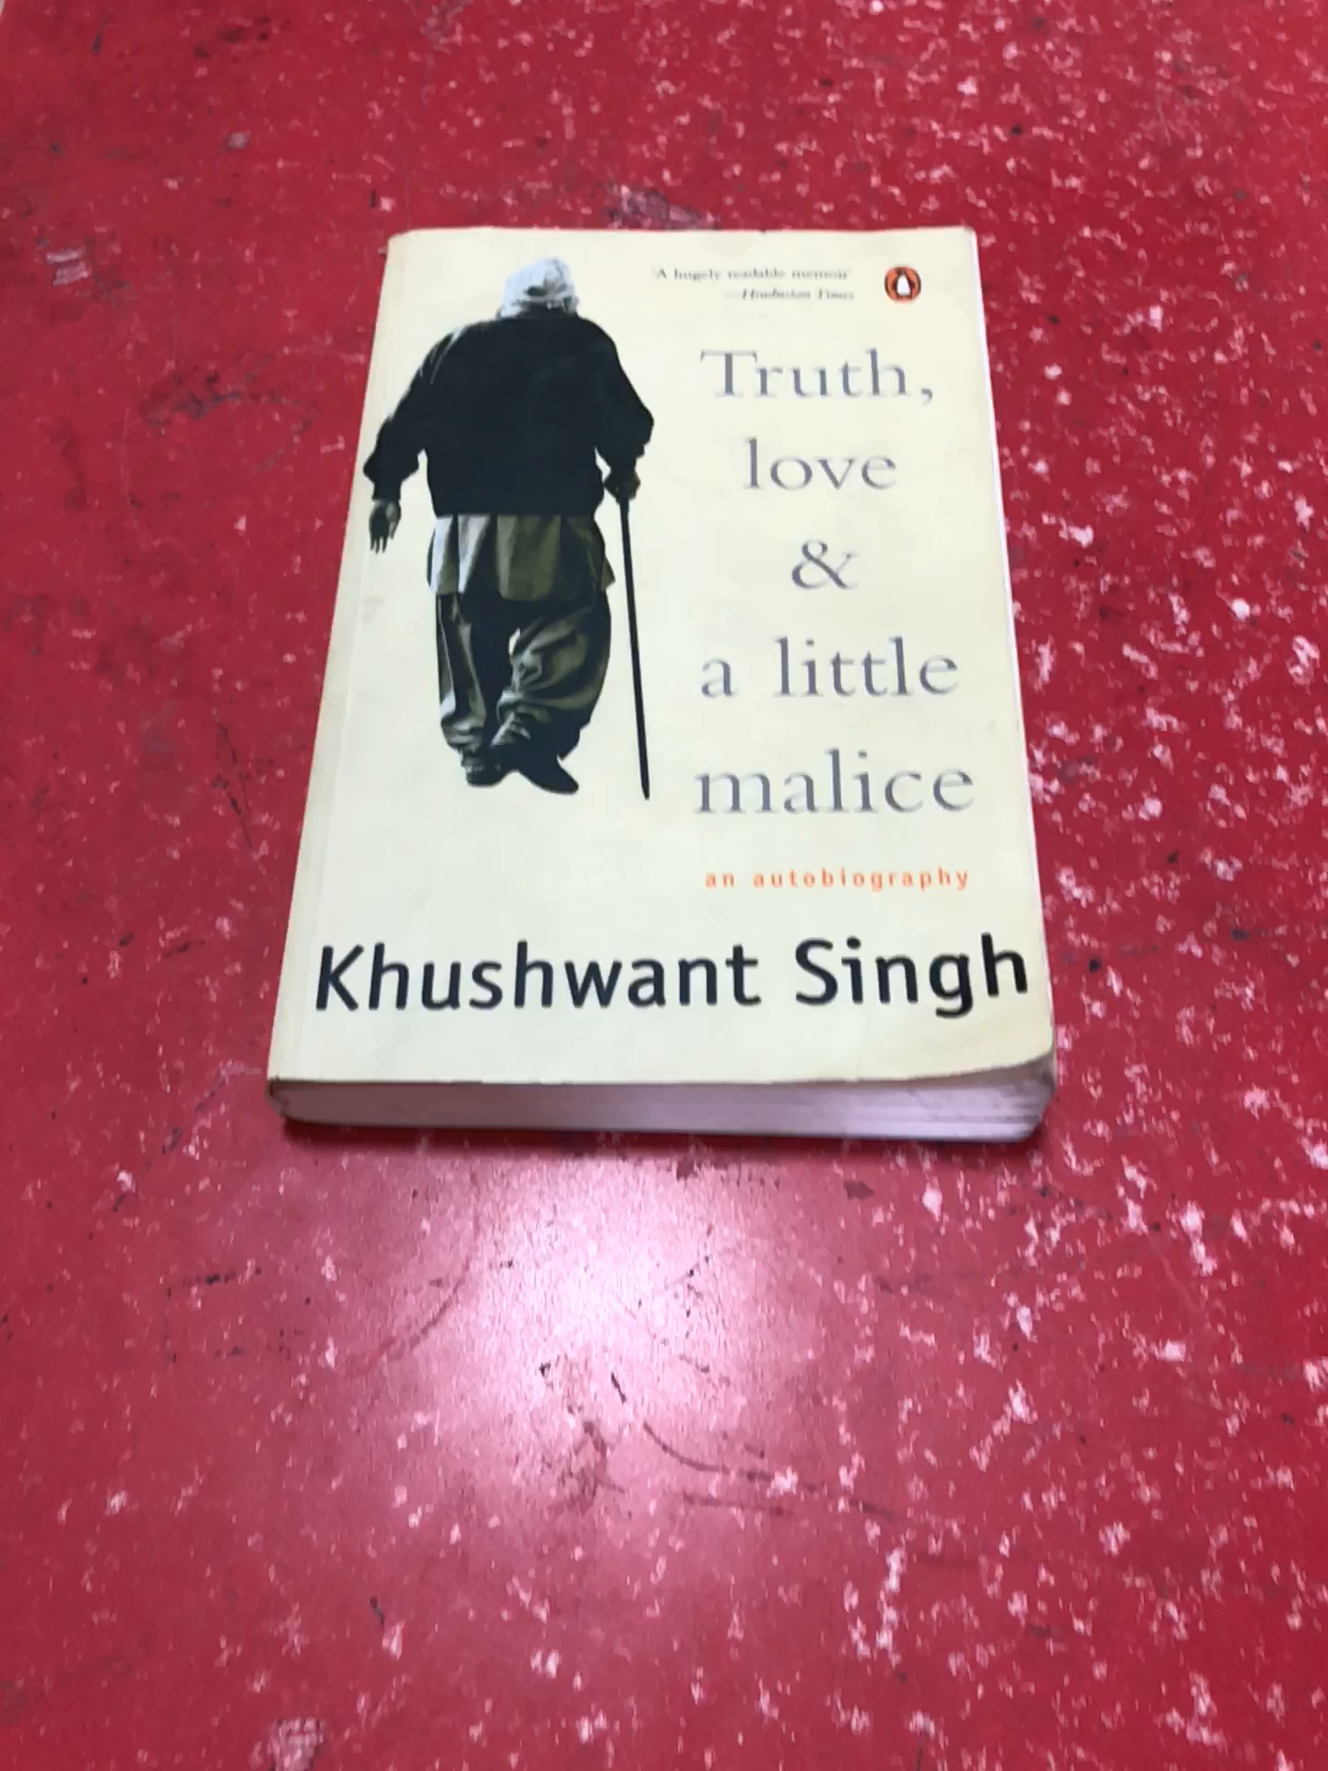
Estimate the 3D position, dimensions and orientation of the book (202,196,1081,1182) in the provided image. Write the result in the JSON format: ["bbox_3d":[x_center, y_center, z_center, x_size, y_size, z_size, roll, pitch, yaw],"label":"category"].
[{"bbox_3d":[0.000,-0.050,0.302,0.140,0.040,0.210,1,63,3],"label":"book"}]
